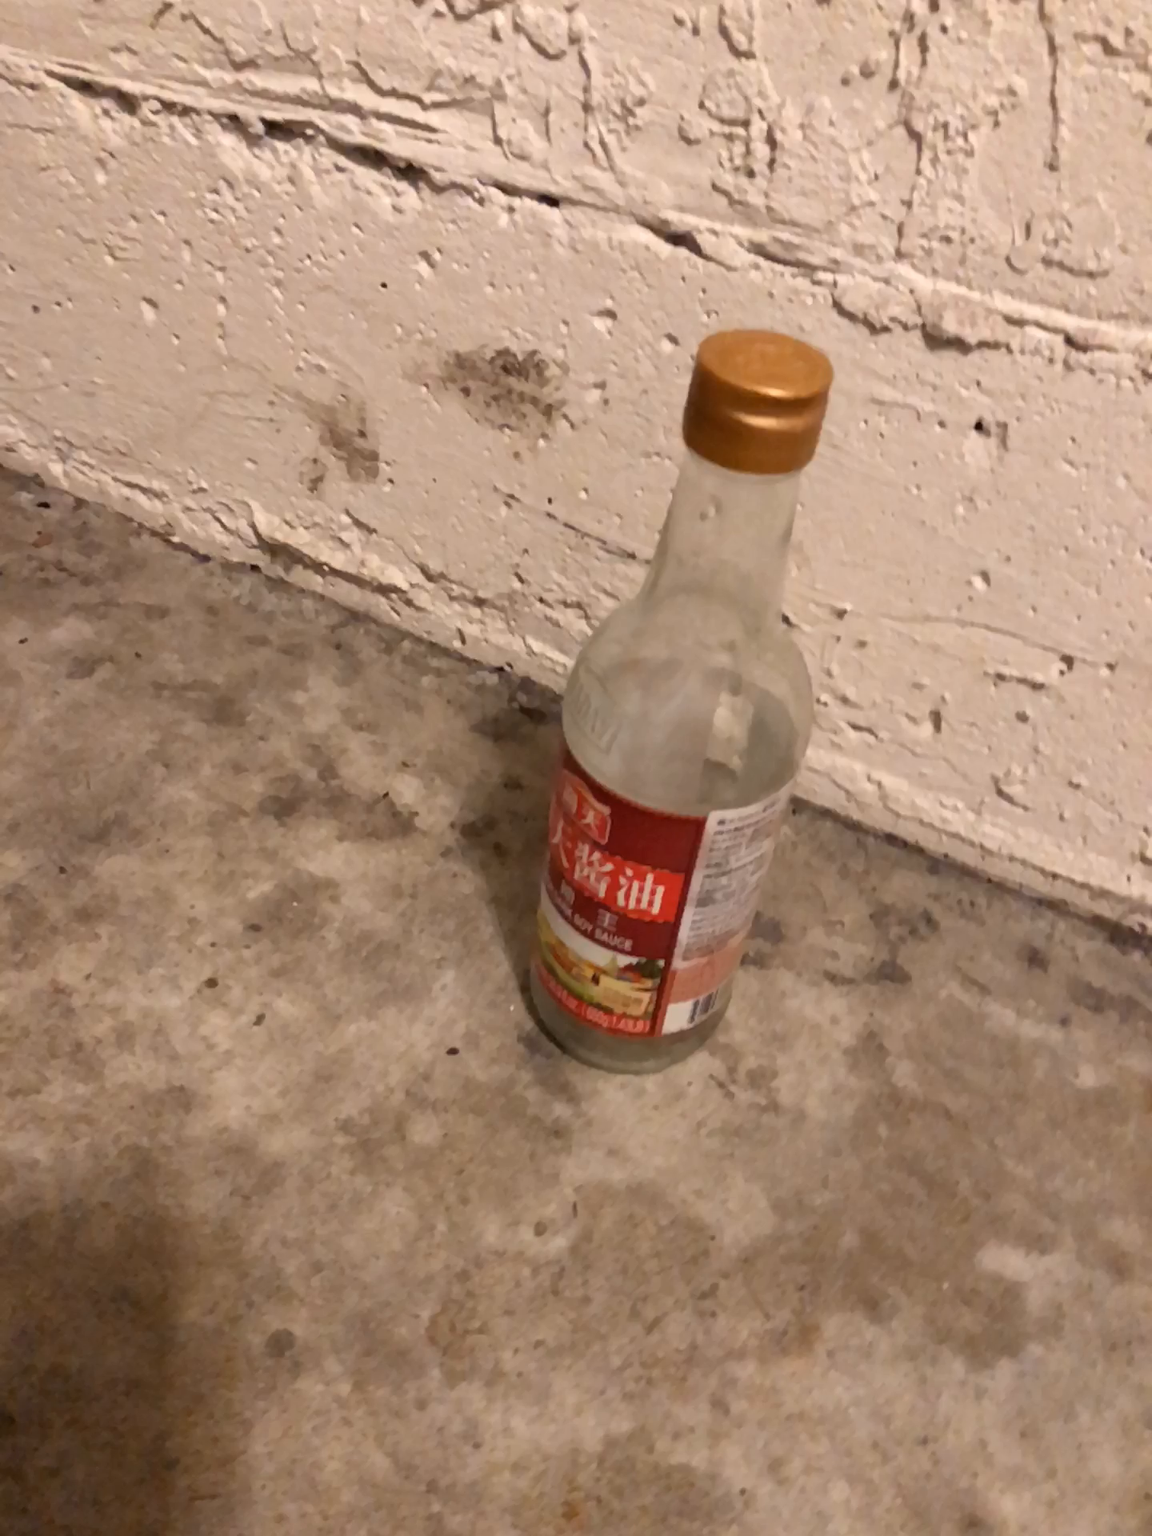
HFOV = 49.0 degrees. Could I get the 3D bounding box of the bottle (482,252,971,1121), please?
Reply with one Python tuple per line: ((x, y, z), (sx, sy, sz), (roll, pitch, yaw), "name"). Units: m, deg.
((0.026, -0.009, 0.348), (0.070, 0.228, 0.070), (3, 42, -3), "bottle")
